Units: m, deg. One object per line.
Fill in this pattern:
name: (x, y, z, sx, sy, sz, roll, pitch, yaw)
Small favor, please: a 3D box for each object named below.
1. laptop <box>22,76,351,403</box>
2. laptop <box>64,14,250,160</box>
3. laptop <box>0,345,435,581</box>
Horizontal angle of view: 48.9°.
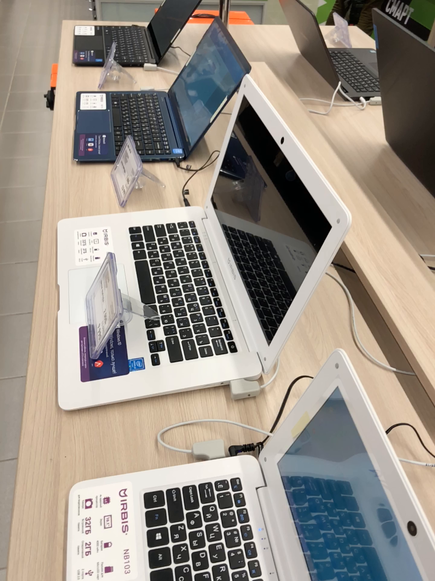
laptop: (-0.062, -0.087, 0.586, 0.279, 0.207, 0.335, -7, 45, -11)
laptop: (-0.128, -0.418, 0.957, 0.310, 0.158, 0.299, -5, 45, -10)
laptop: (0.003, 0.202, 0.314, 0.221, 0.167, 0.261, -5, 43, -10)
